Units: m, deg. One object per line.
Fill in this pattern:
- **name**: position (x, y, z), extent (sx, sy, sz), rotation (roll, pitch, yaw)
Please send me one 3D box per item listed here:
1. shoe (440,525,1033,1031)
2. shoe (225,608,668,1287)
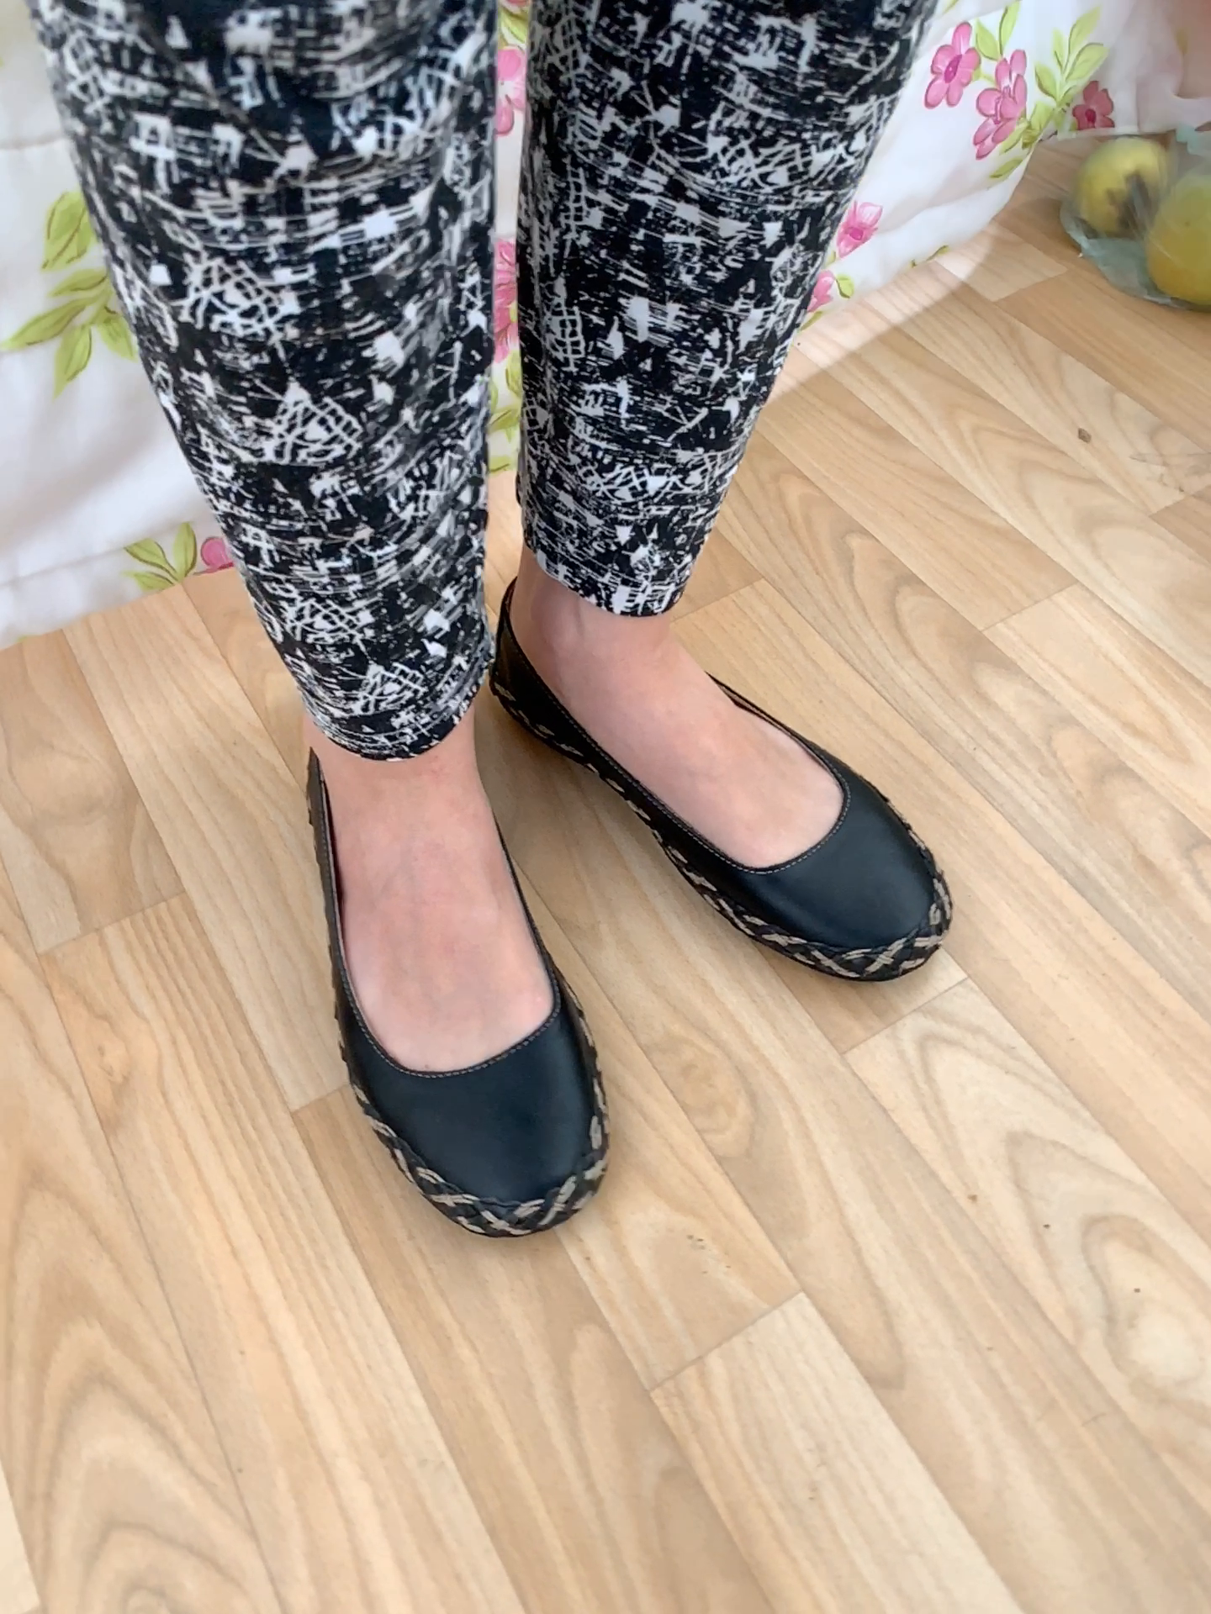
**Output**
- **shoe**: position (0.050, -0.023, 0.561), extent (0.250, 0.060, 0.100), rotation (37, 63, 25)
- **shoe**: position (-0.073, 0.043, 0.516), extent (0.100, 0.070, 0.266), rotation (-19, 56, -11)
